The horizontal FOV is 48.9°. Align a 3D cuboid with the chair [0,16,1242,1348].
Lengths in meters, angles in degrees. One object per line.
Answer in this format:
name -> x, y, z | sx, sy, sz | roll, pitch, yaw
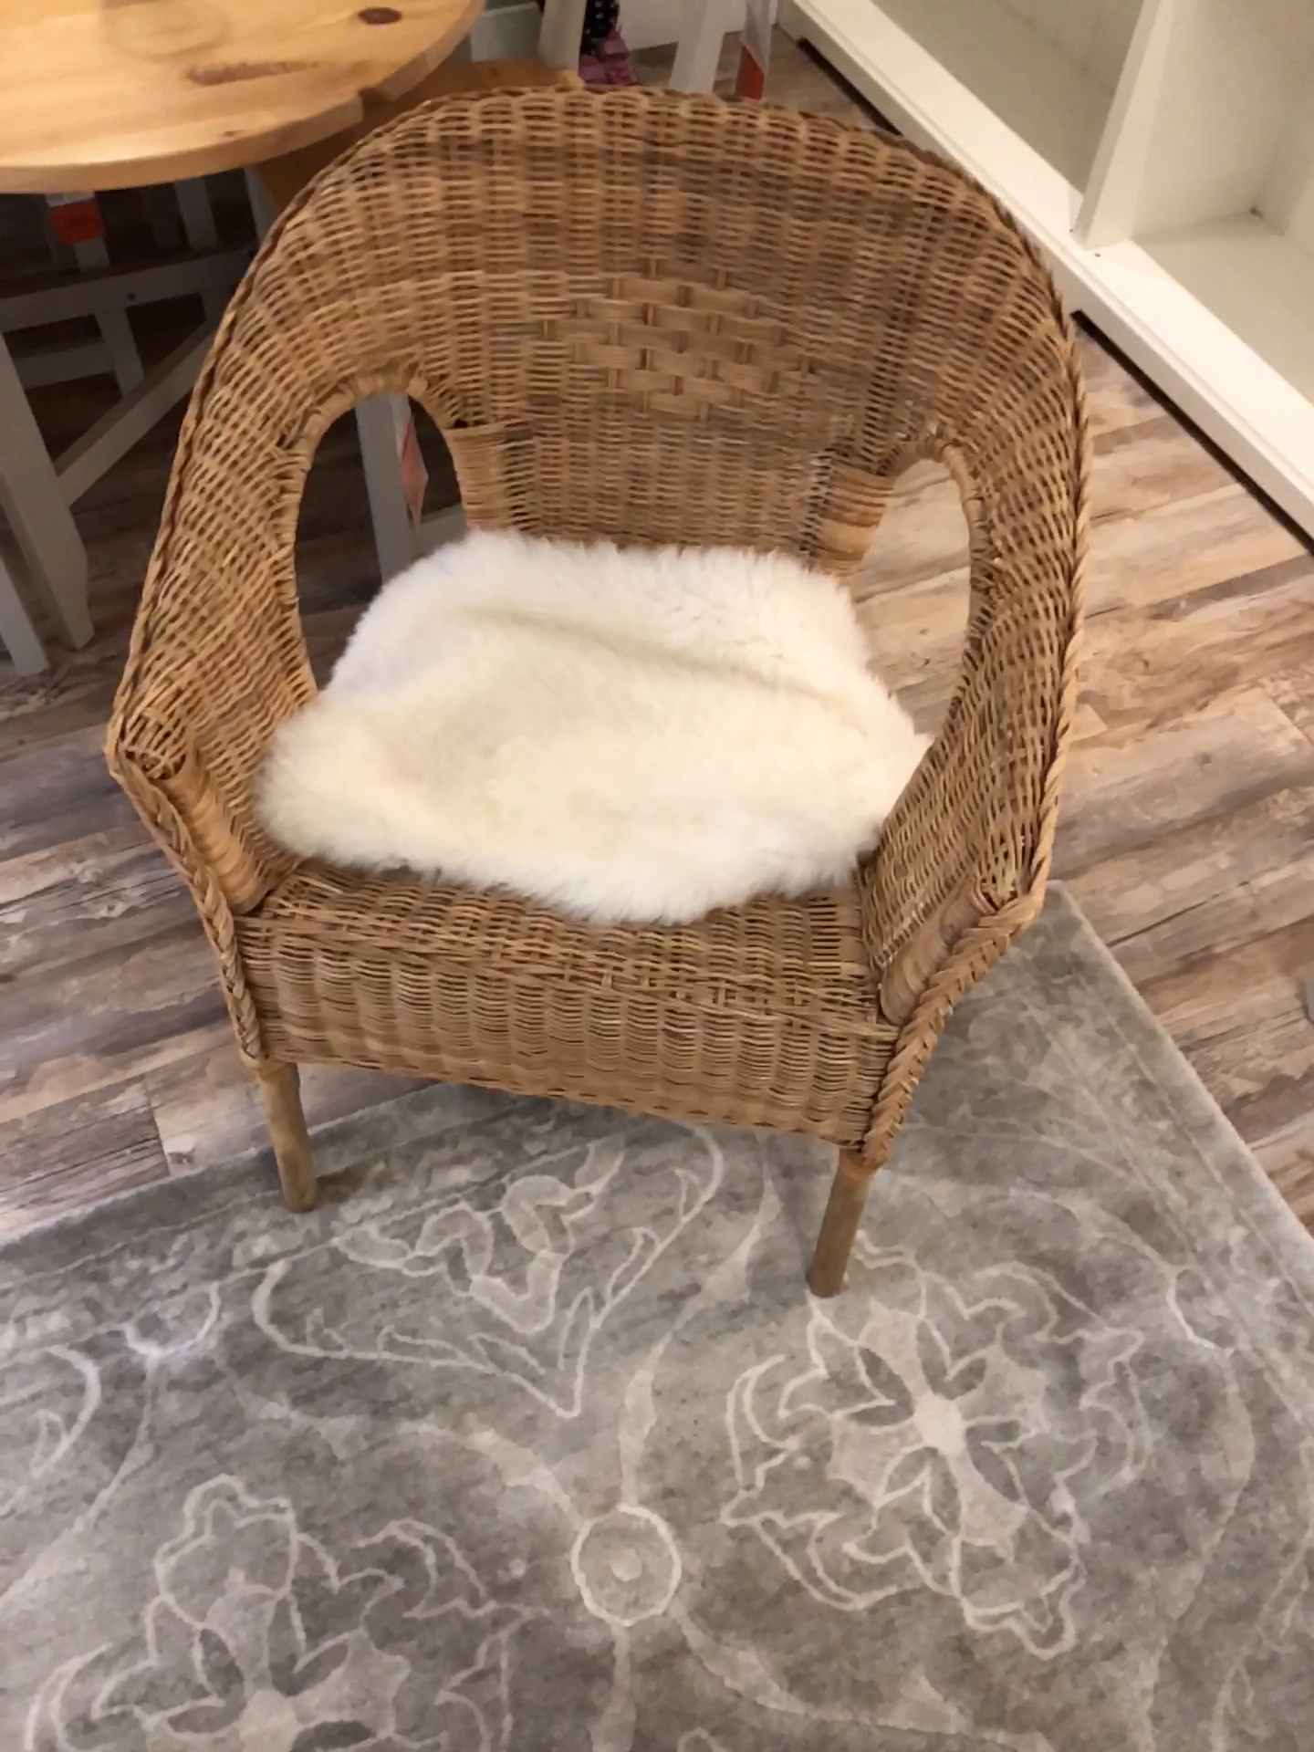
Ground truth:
chair -> -0.017, -0.114, 1.144 | 0.650, 0.718, 0.632 | 10, 54, 4
